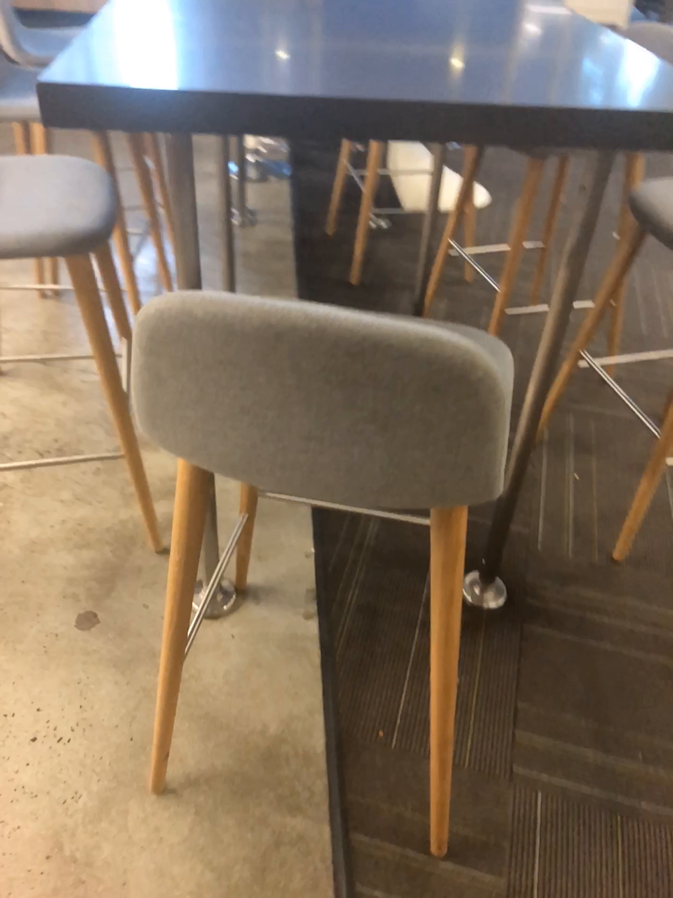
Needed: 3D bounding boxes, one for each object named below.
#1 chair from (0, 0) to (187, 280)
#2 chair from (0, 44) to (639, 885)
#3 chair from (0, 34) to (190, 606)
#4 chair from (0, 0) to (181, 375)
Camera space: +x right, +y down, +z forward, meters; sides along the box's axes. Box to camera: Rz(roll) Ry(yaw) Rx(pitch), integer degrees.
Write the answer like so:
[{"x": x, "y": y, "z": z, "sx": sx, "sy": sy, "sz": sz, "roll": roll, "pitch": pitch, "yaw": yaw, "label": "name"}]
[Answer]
[{"x": -0.865, "y": -1.133, "z": 2.563, "sx": 0.511, "sy": 0.893, "sz": 0.493, "roll": -12, "pitch": 37, "yaw": -19, "label": "chair"}, {"x": 0.002, "y": 0.033, "z": 1.102, "sx": 0.500, "sy": 0.981, "sz": 0.666, "roll": 10, "pitch": 39, "yaw": 7, "label": "chair"}, {"x": -0.639, "y": -0.243, "z": 1.517, "sx": 0.541, "sy": 0.981, "sz": 0.503, "roll": -8, "pitch": 40, "yaw": -15, "label": "chair"}, {"x": -0.772, "y": -0.769, "z": 2.122, "sx": 0.540, "sy": 0.982, "sz": 0.504, "roll": -1, "pitch": 34, "yaw": -7, "label": "chair"}]
